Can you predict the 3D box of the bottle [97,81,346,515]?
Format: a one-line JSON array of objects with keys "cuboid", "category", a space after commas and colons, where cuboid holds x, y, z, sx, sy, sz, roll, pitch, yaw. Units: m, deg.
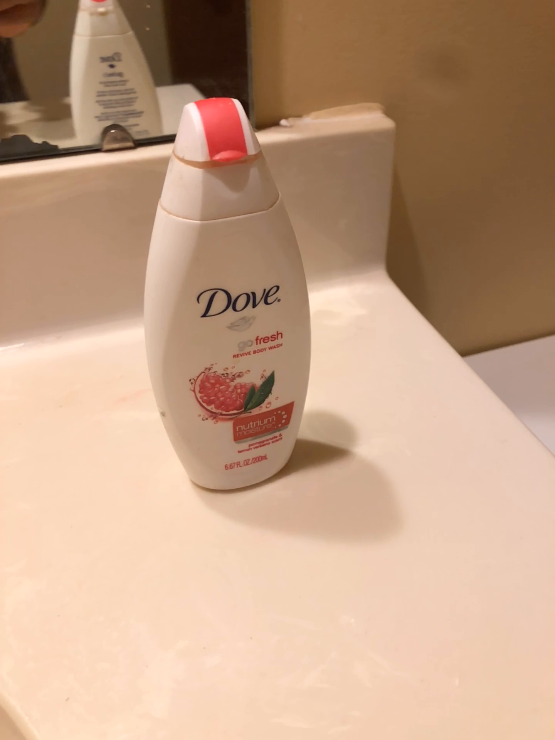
[{"cuboid": [-0.017, -0.019, 0.242, 0.070, 0.160, 0.040, -12, 39, -14], "category": "bottle"}]
